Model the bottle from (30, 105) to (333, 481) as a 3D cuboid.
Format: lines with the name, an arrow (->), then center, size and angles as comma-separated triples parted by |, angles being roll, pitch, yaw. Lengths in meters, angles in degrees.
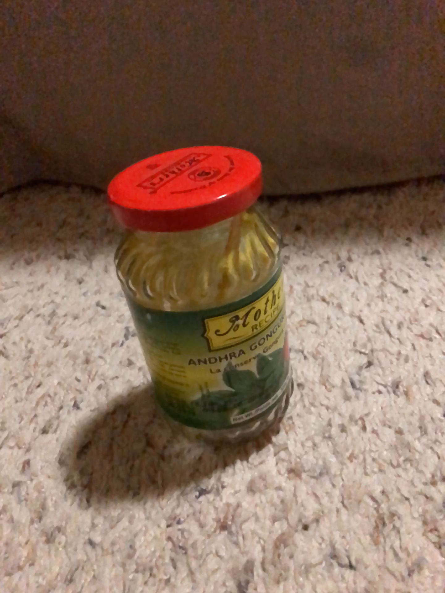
bottle -> -0.007, -0.005, 0.193 | 0.070, 0.110, 0.070 | -5, 36, 4
